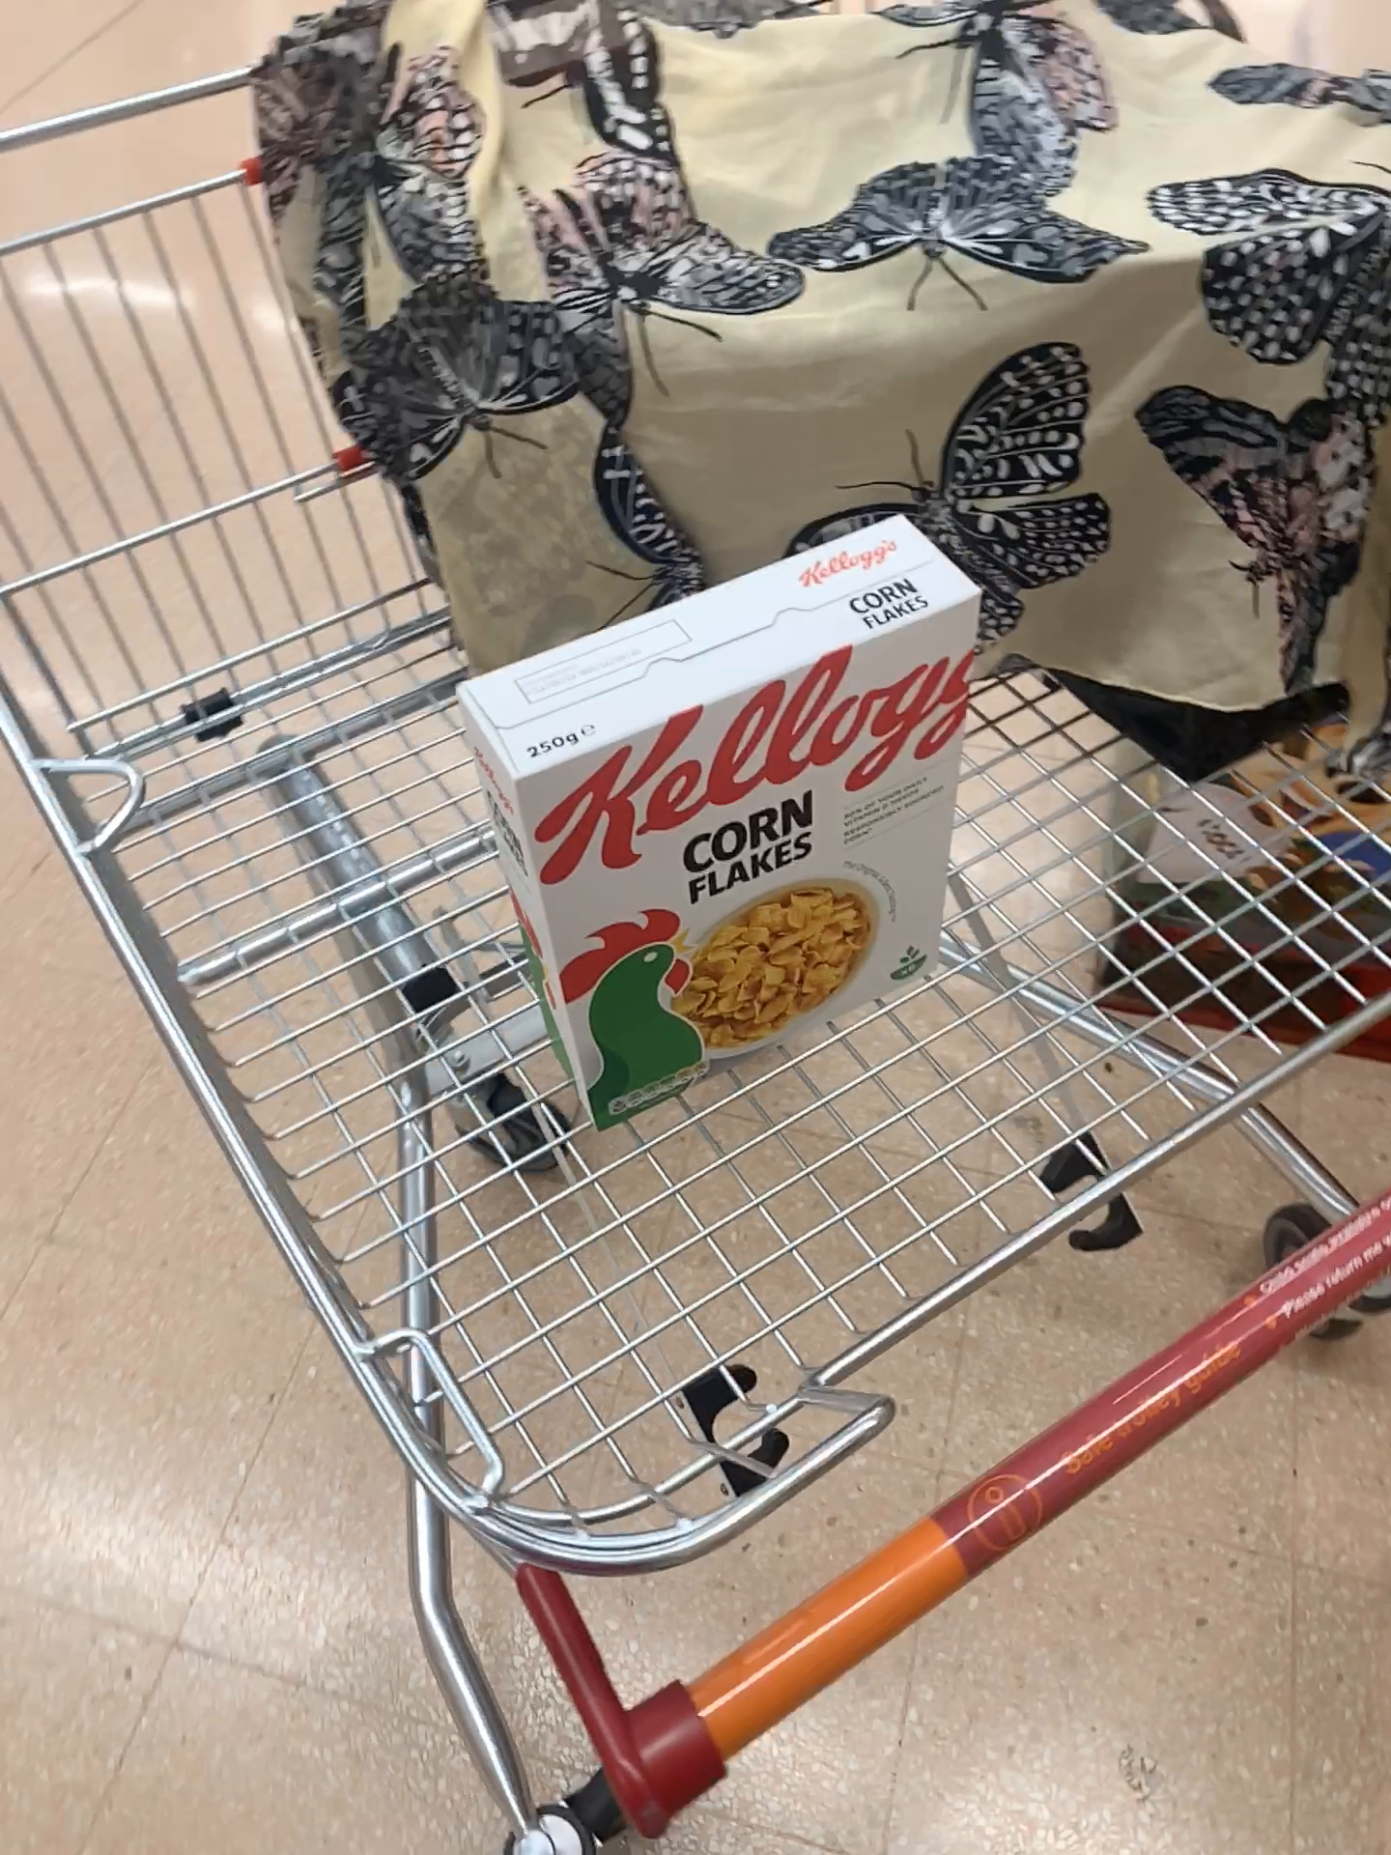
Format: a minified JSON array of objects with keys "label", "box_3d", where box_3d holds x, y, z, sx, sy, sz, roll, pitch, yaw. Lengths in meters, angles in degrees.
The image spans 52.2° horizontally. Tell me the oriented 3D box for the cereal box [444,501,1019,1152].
[{"label":"cereal box","box_3d":[0.019,-0.031,0.597,0.200,0.238,0.060,-24,55,-16]}]
